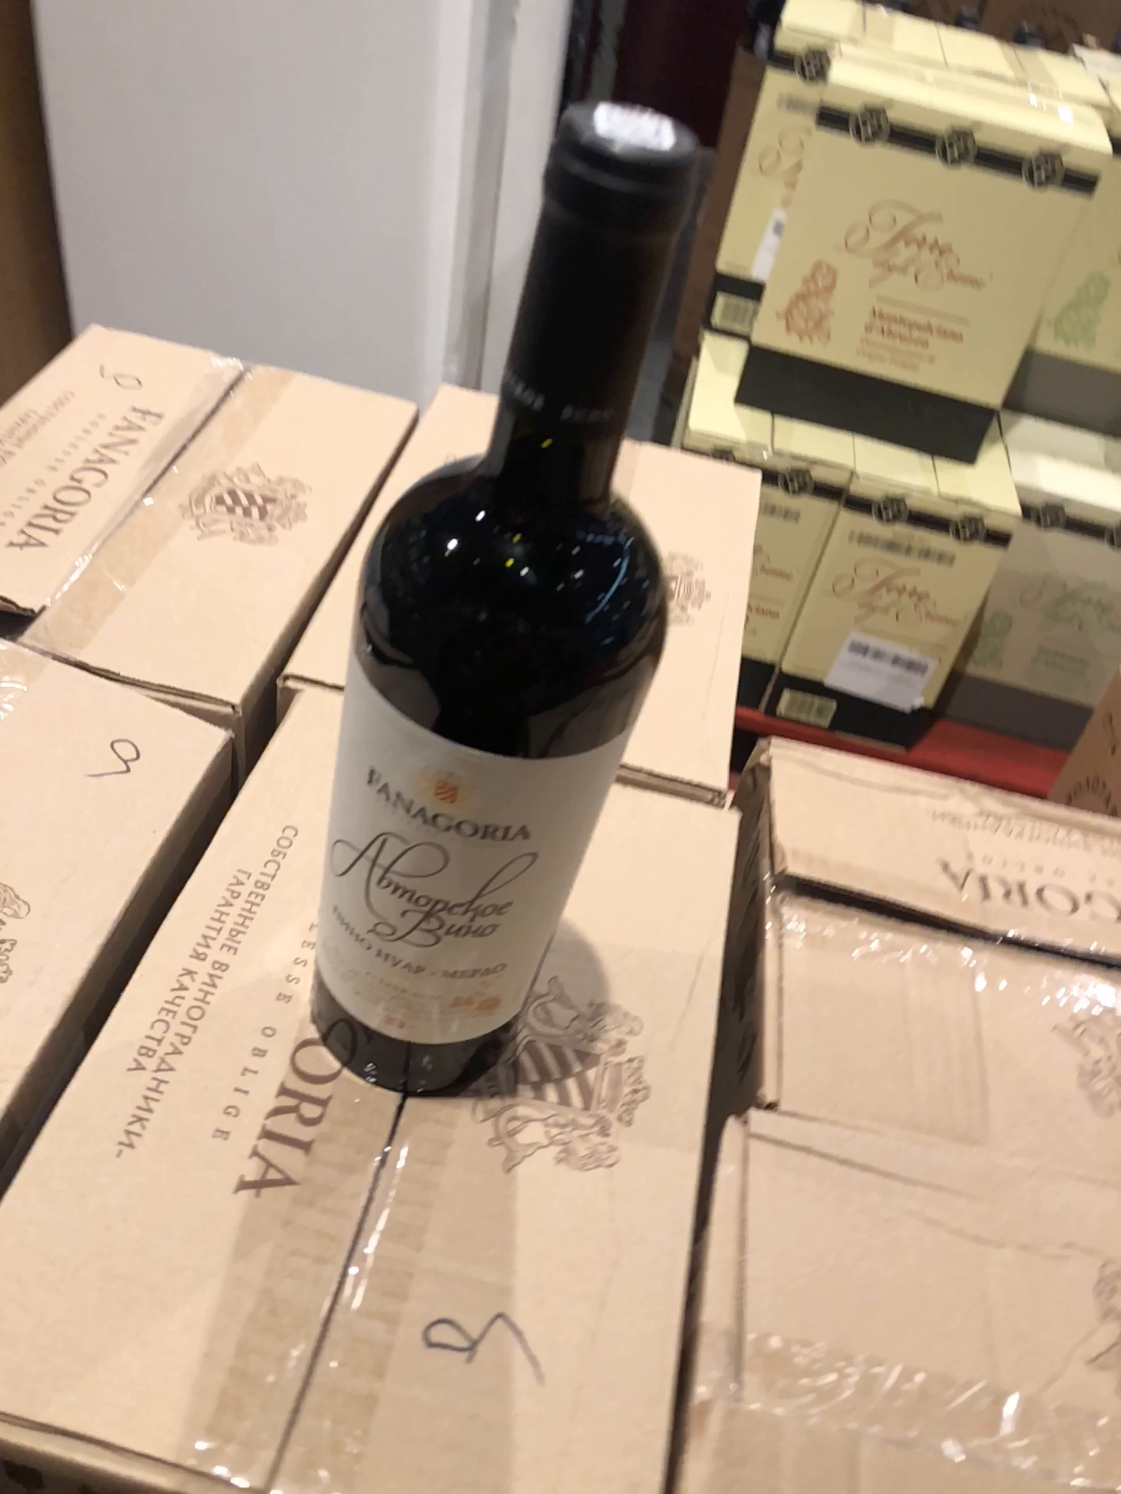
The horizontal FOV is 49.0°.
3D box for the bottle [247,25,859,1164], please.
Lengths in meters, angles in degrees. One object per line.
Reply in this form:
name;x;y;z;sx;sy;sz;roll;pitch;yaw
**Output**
bottle;-0.020;-0.014;0.353;0.100;0.308;0.091;19;41;5
